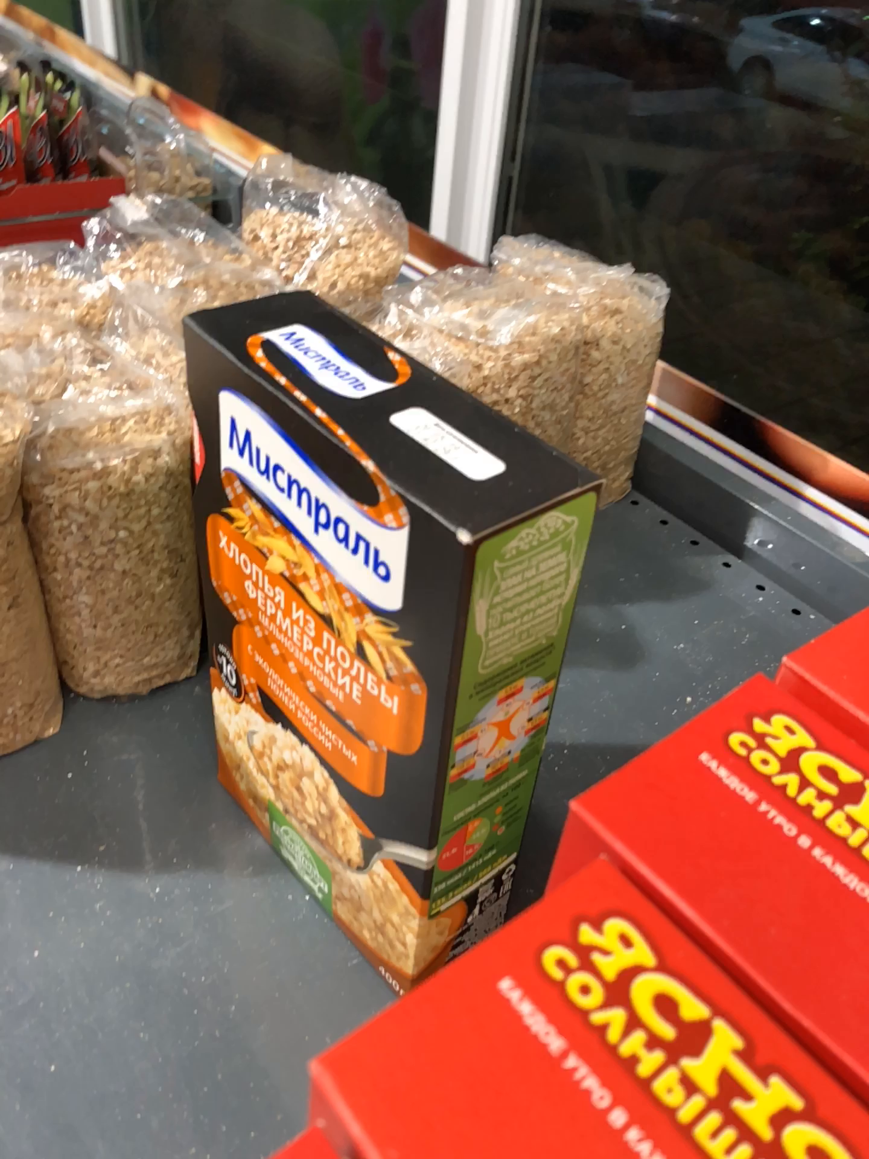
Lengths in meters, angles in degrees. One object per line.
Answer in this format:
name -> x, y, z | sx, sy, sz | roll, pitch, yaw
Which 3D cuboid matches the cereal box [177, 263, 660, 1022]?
cereal box -> -0.020, 0.026, 0.318 | 0.050, 0.209, 0.140 | -25, 48, -33
